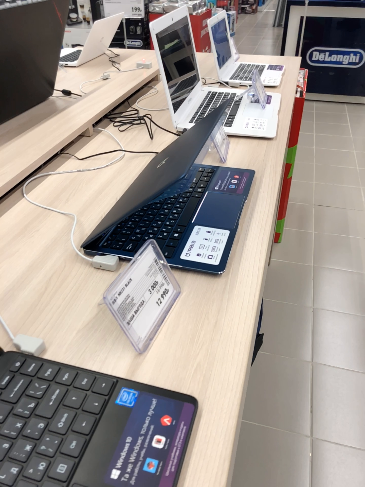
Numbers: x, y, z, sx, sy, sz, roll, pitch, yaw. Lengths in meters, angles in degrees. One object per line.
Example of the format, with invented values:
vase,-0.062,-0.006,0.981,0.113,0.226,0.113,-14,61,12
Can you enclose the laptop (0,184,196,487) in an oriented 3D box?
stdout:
laptop,-0.179,0.127,0.240,0.322,0.165,0.295,10,36,14

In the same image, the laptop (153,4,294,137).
laptop,0.112,-0.460,1.019,0.302,0.212,0.341,9,38,13

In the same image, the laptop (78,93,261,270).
laptop,0.005,-0.122,0.638,0.189,0.124,0.310,11,37,12
